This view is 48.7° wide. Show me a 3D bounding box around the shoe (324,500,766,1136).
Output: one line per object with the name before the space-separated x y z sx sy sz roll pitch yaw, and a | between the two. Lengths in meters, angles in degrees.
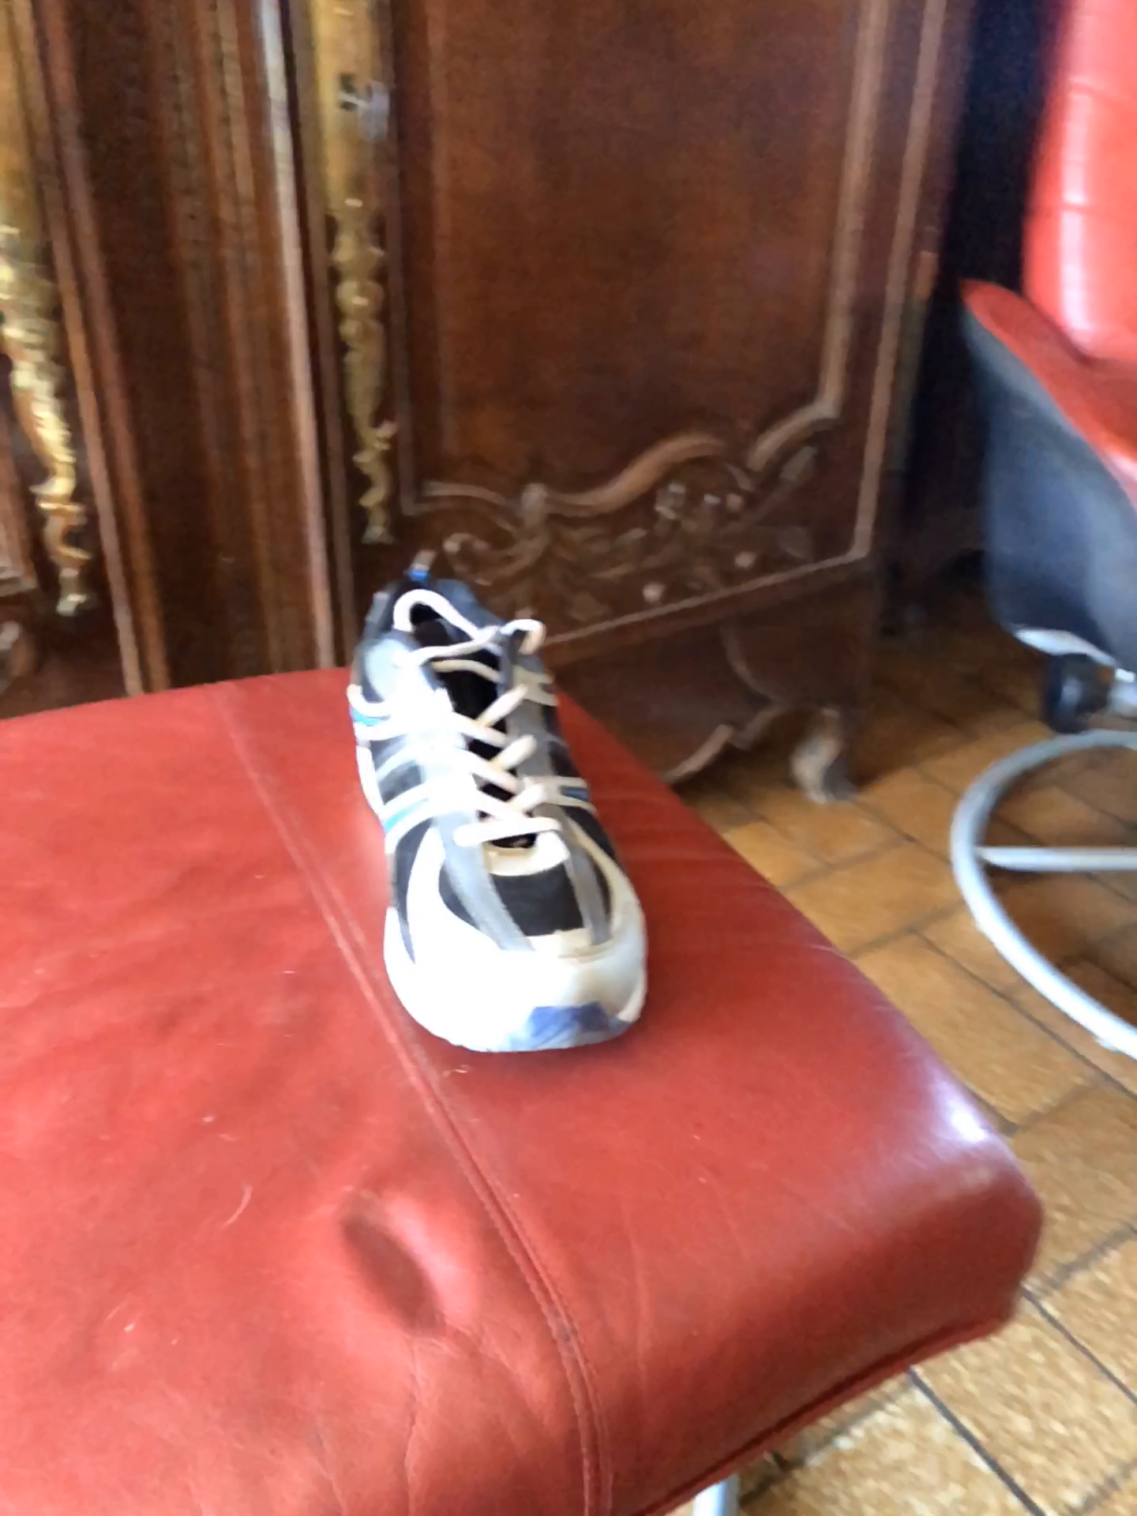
shoe | -0.027 0.001 0.505 0.110 0.119 0.261 -6 32 -13
